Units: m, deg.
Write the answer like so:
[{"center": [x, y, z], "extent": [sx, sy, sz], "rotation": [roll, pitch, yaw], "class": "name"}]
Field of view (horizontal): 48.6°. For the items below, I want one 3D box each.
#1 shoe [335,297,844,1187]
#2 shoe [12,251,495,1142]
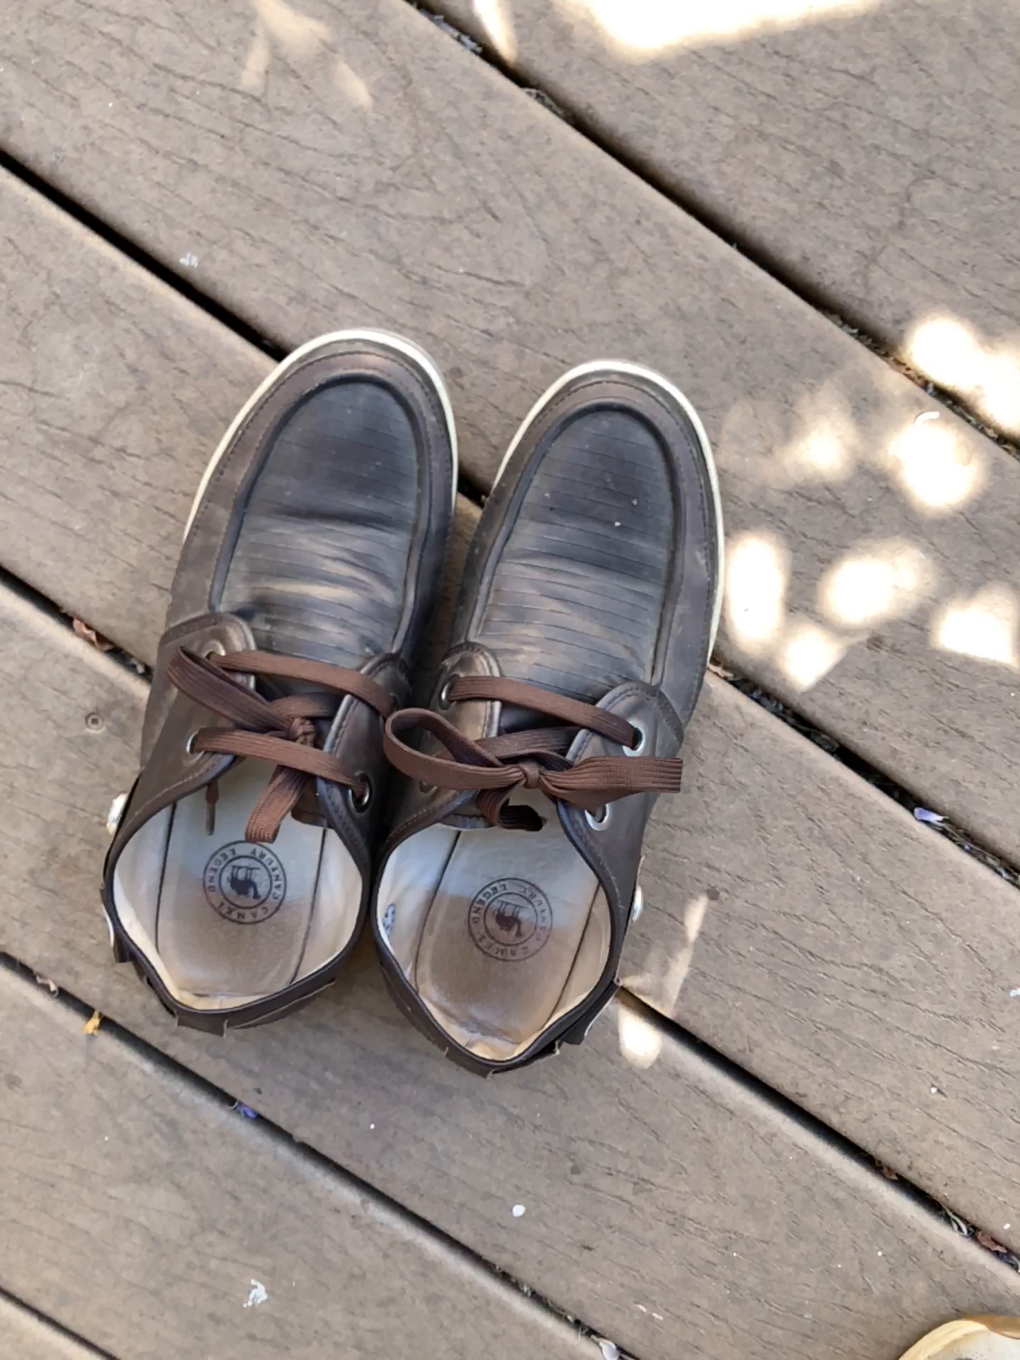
[{"center": [0.022, 0.022, 0.432], "extent": [0.107, 0.105, 0.289], "rotation": [13, 98, -2], "class": "shoe"}, {"center": [-0.091, 0.006, 0.437], "extent": [0.107, 0.115, 0.287], "rotation": [13, 98, -3], "class": "shoe"}]
